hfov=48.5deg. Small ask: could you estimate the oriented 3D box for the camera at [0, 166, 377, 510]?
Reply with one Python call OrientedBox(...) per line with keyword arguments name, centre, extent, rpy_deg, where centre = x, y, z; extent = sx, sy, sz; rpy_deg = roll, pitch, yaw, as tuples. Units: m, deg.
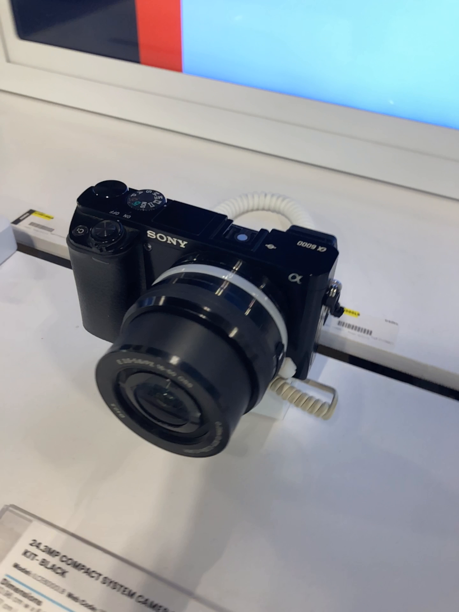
OrientedBox(name="camera", centre=(-0.016, 0.005, 0.228), extent=(0.130, 0.070, 0.101), rpy_deg=(17, 44, 15))
